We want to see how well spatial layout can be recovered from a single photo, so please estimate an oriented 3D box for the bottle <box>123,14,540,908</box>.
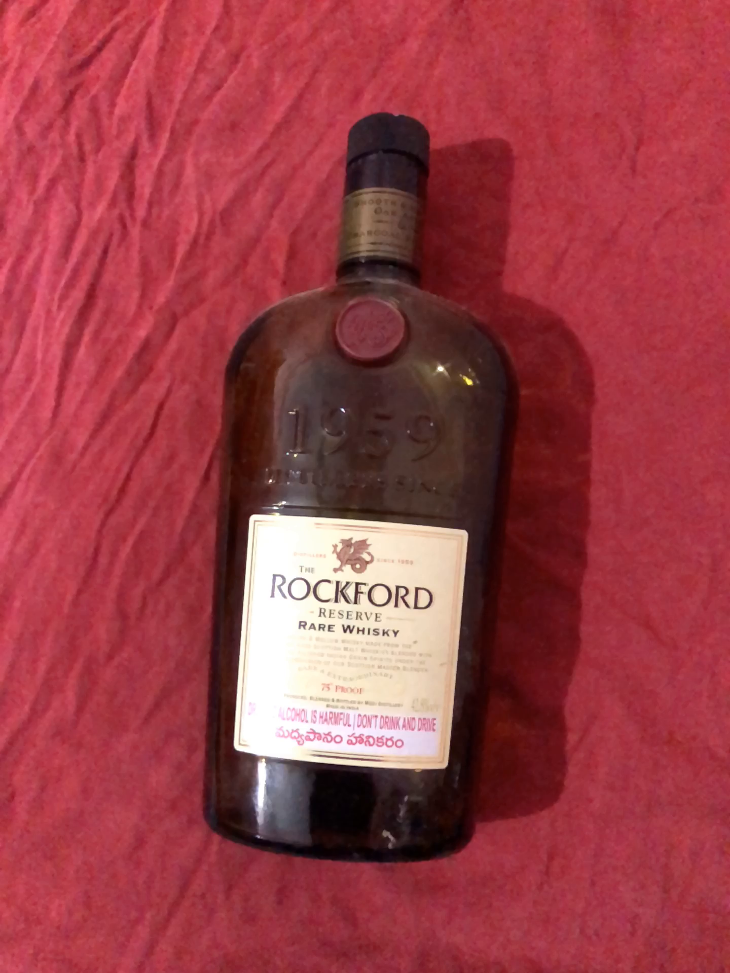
[{"bbox_3d":[-0.005,-0.014,0.259,0.100,0.060,0.250,3,83,4],"label":"bottle"}]
